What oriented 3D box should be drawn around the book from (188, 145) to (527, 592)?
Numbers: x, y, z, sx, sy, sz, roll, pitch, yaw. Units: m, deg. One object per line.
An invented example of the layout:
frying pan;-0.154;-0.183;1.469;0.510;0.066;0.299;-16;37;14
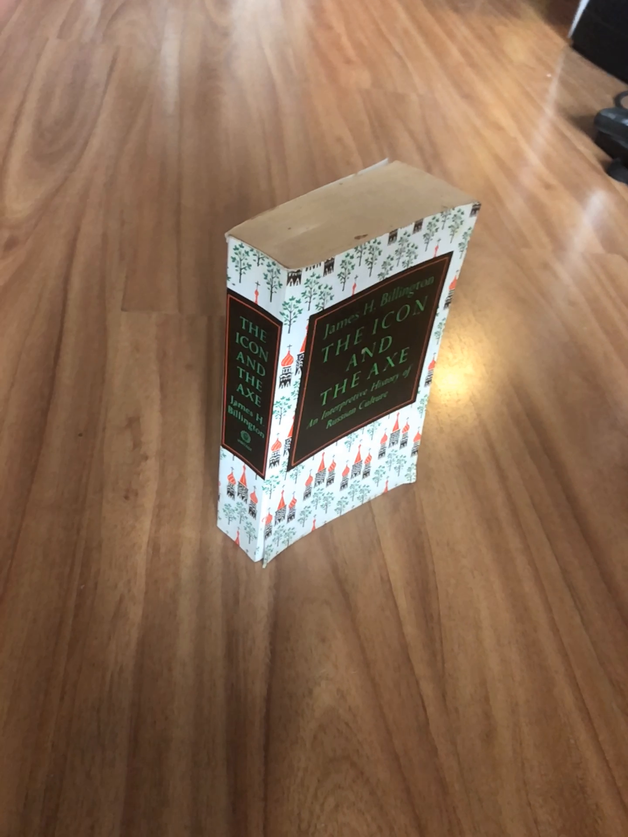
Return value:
book;0.016;-0.024;0.372;0.151;0.199;0.060;-26;51;-32
